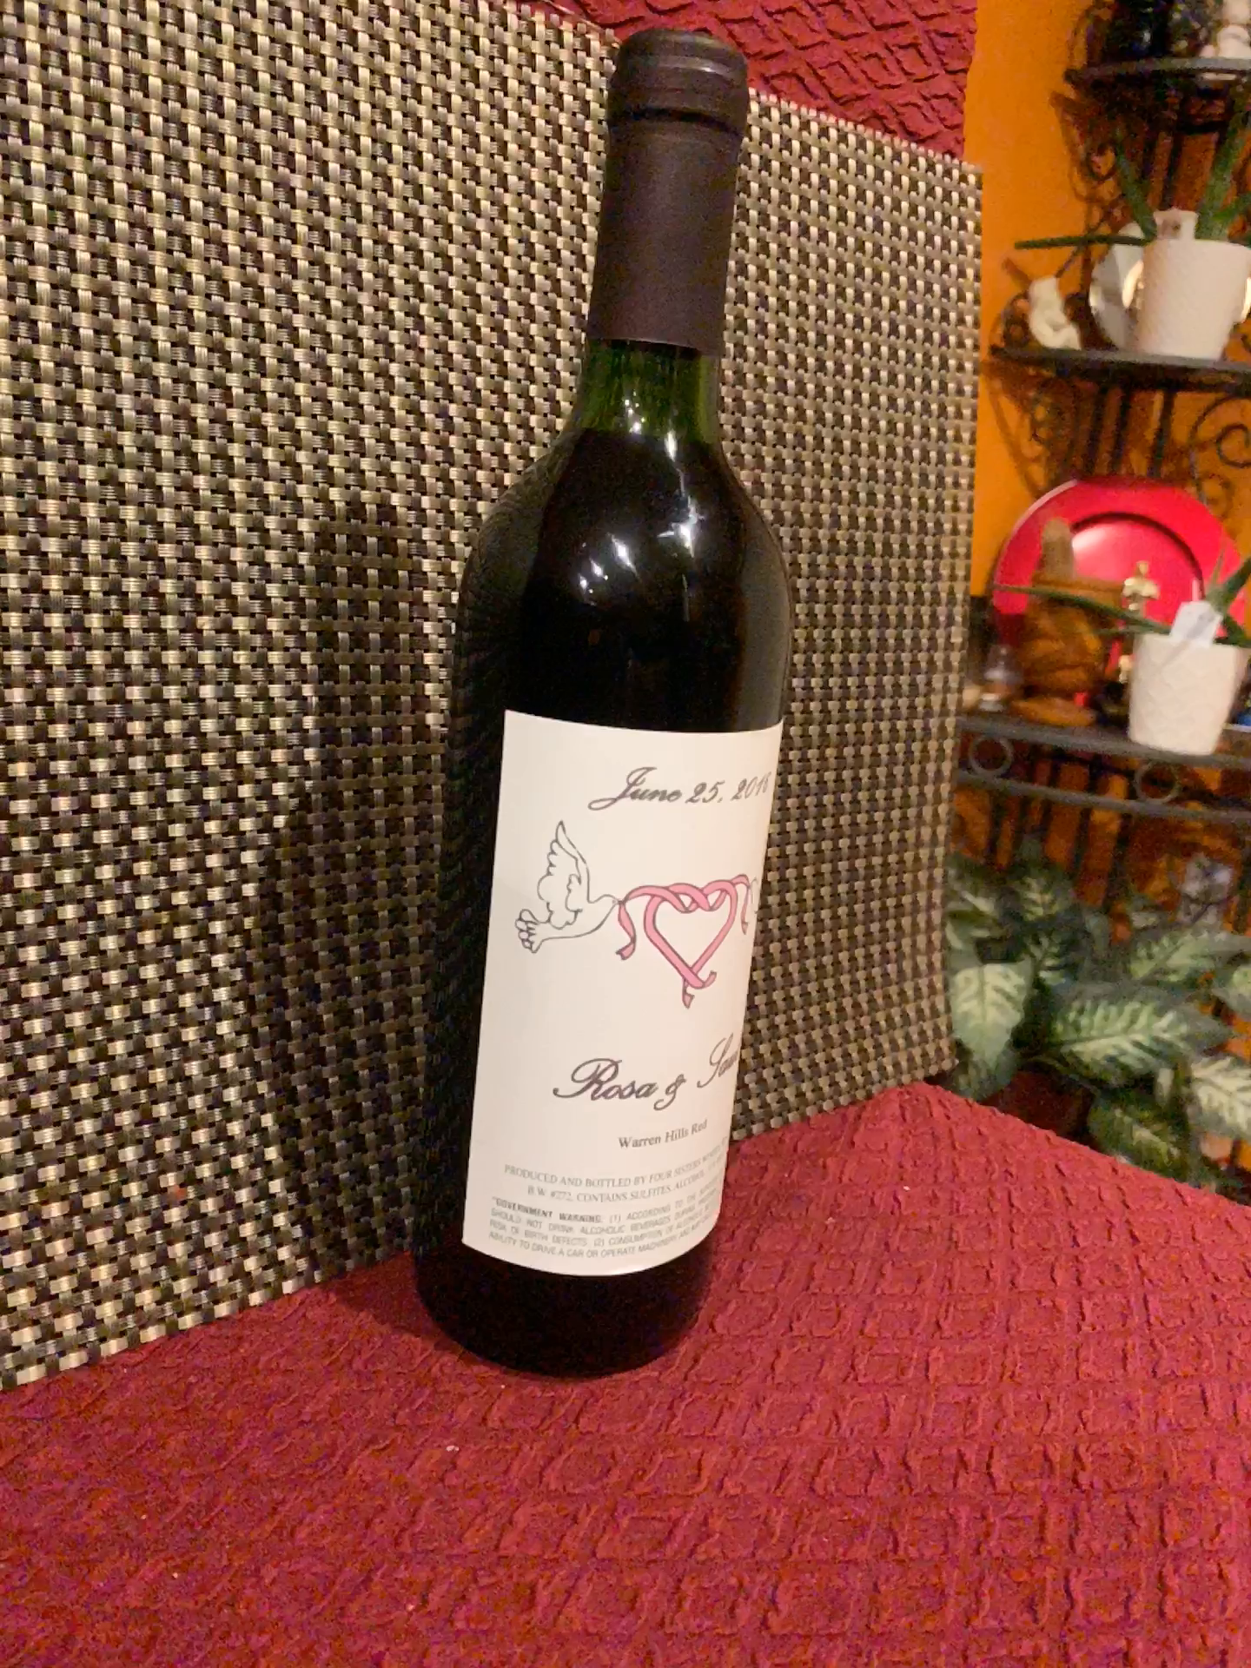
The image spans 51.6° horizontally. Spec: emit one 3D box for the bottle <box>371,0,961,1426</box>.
[{"bbox_3d":[0.001,-0.021,0.292,0.080,0.289,0.060,-4,18,-36],"label":"bottle"}]
